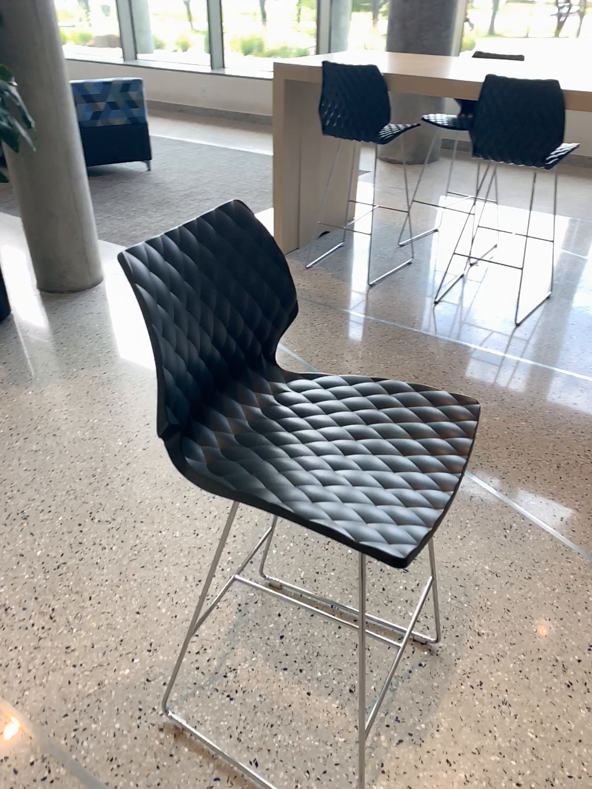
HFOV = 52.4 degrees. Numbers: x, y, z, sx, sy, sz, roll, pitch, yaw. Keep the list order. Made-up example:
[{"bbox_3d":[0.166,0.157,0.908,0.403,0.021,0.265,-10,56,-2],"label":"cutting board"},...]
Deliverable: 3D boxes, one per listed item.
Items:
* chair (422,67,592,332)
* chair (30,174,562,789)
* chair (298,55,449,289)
[{"bbox_3d":[1.040,-0.946,2.902,0.533,1.048,0.549,23,39,31],"label":"chair"},{"bbox_3d":[0.031,0.226,1.118,0.547,1.048,0.535,18,37,24],"label":"chair"},{"bbox_3d":[0.392,-1.223,3.287,0.533,1.048,0.549,23,39,31],"label":"chair"}]
